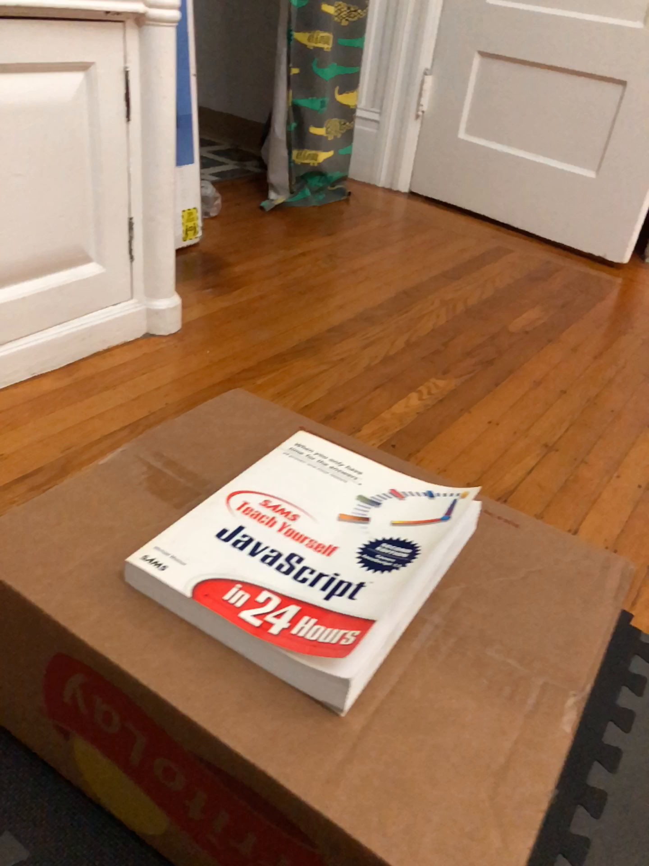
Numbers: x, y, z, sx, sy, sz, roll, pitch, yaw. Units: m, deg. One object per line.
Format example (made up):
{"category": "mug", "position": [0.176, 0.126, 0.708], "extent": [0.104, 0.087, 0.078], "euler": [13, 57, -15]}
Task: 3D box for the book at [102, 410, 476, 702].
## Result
{"category": "book", "position": [-0.015, 0.073, 0.571], "extent": [0.200, 0.030, 0.241], "euler": [23, 33, 21]}
